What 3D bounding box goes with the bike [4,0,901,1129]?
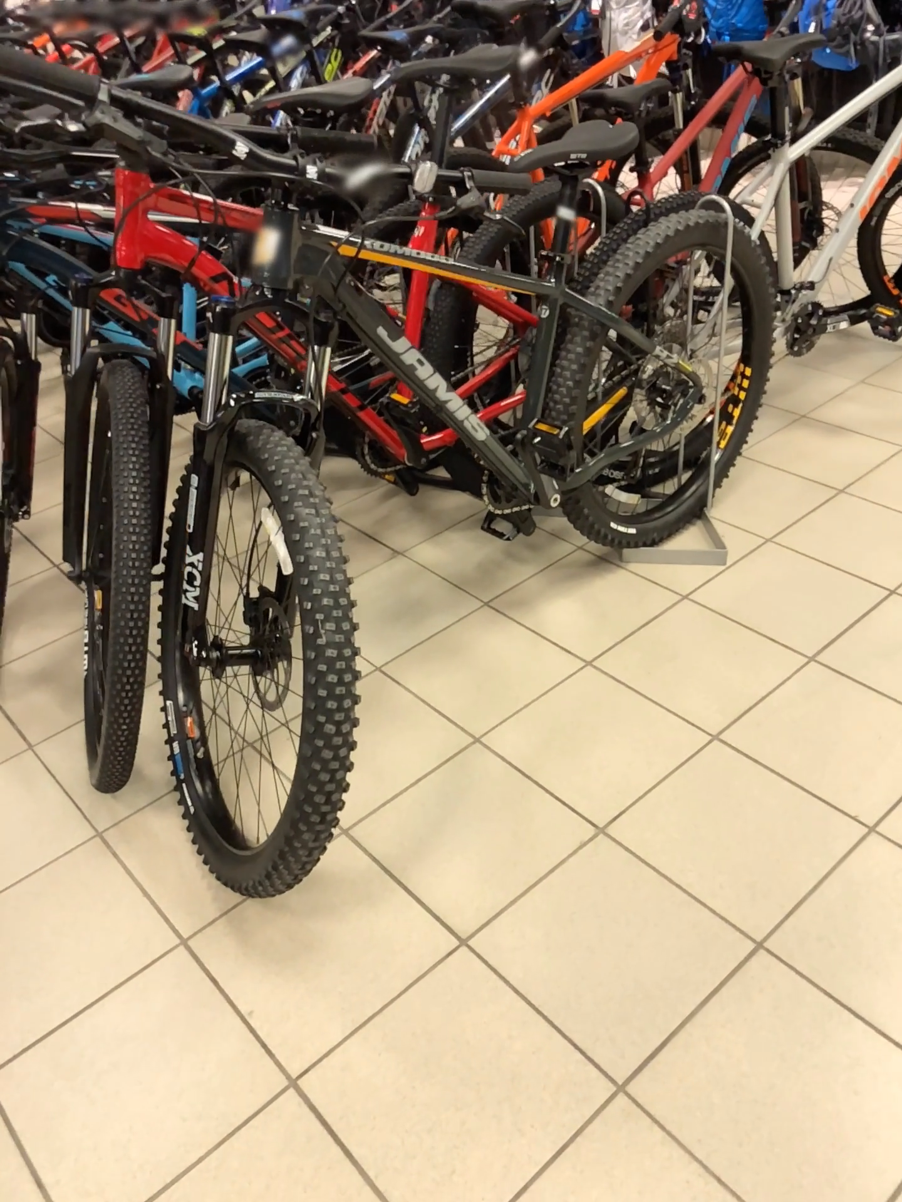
[{"bbox_3d":[0.256,-0.352,1.697,0.809,1.166,1.548,20,44,32],"label":"bike"}]
